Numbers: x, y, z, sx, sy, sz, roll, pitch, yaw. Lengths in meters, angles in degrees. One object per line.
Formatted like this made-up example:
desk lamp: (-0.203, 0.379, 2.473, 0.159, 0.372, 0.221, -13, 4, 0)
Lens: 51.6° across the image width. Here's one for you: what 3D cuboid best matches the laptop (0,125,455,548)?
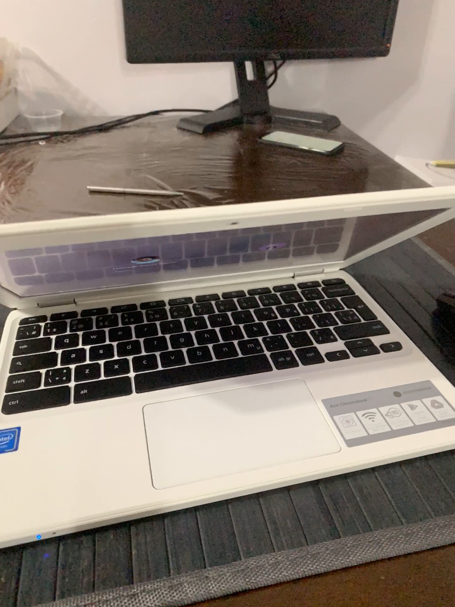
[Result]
laptop: (-0.008, -0.012, 0.276, 0.280, 0.124, 0.182, -8, 34, -13)
